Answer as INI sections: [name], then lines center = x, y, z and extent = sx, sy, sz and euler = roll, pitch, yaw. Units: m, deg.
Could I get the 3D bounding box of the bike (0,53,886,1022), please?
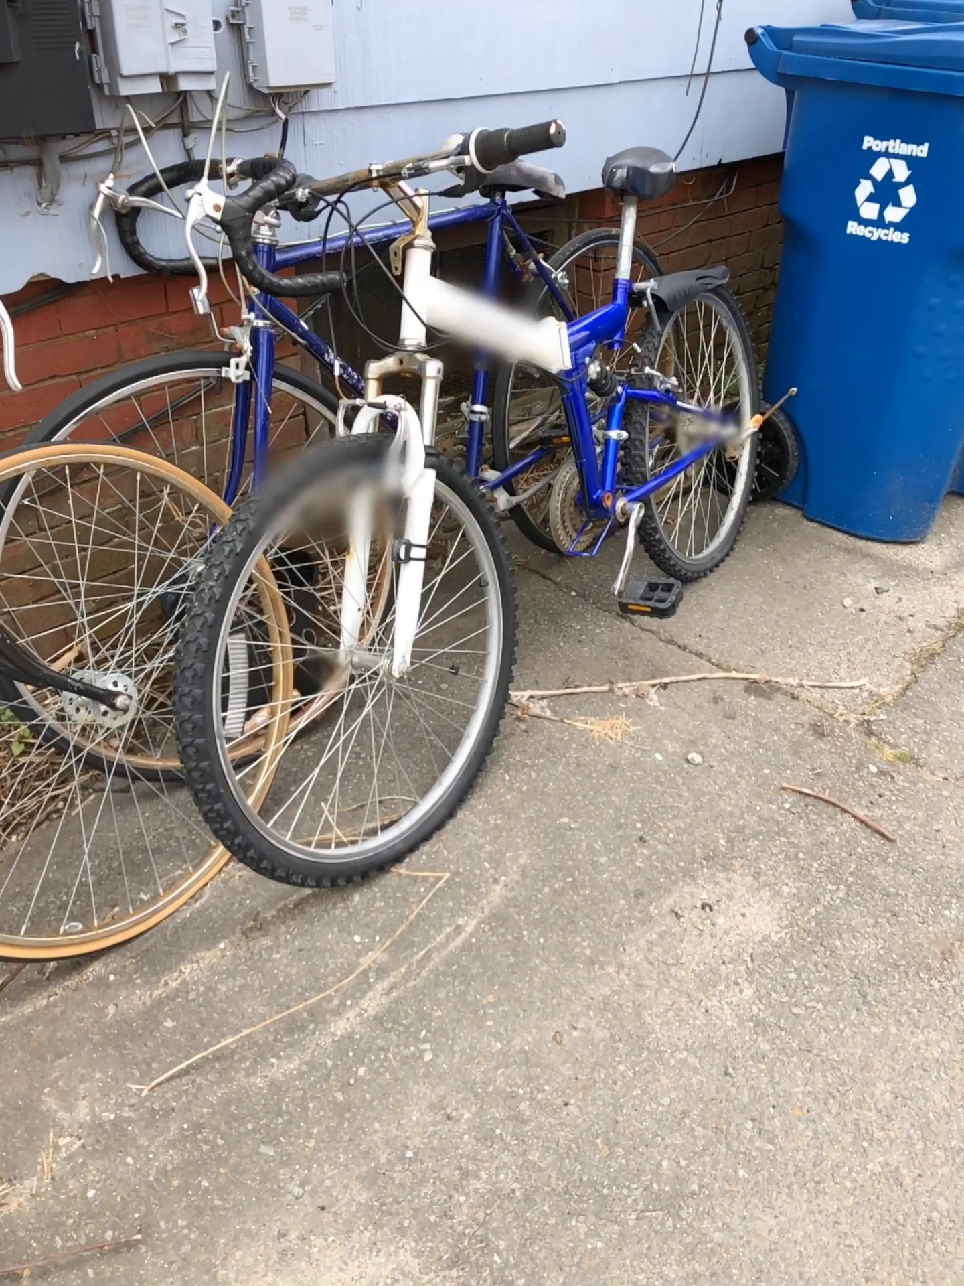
[bike]
center = 0.066, -0.393, 1.931
extent = 0.563, 0.978, 1.737
euler = 22, 41, 28
